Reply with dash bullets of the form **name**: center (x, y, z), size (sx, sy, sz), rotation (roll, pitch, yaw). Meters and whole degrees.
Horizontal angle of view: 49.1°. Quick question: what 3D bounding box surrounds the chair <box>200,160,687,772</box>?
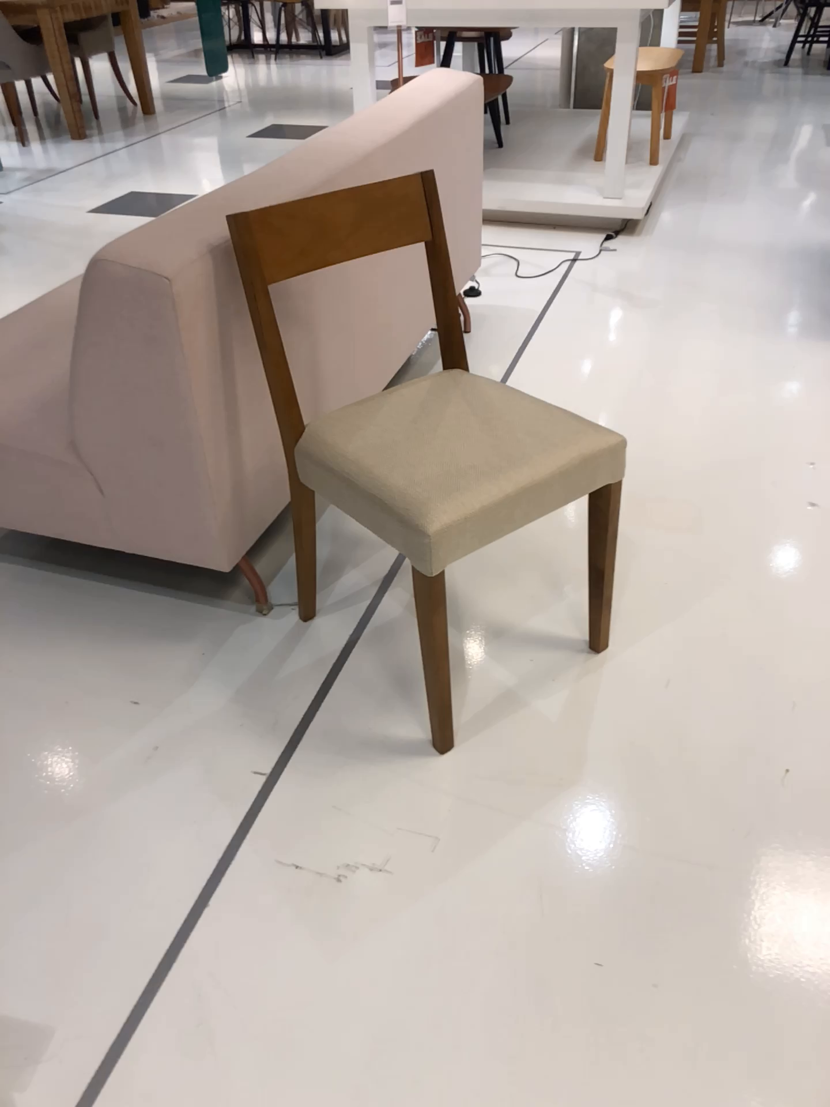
- **chair**: center (0.036, -0.182, 1.637), size (0.492, 0.814, 0.593), rotation (-25, 41, -28)
